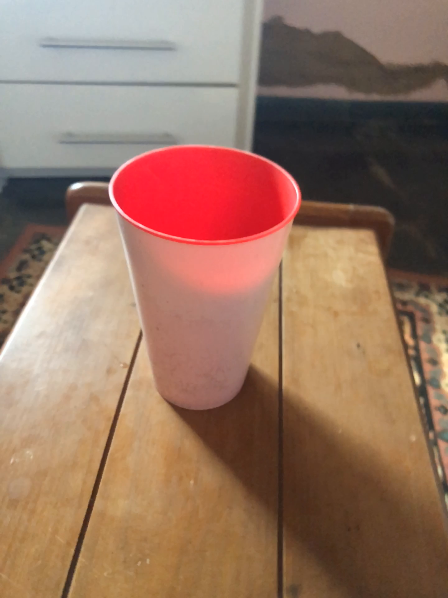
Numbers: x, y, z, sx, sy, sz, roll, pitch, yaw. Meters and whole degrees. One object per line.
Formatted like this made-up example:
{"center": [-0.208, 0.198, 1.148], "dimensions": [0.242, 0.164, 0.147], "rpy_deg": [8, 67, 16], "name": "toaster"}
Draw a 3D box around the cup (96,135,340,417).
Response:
{"center": [-0.004, -0.012, 0.278], "dimensions": [0.100, 0.119, 0.091], "rpy_deg": [4, 41, 0], "name": "cup"}
